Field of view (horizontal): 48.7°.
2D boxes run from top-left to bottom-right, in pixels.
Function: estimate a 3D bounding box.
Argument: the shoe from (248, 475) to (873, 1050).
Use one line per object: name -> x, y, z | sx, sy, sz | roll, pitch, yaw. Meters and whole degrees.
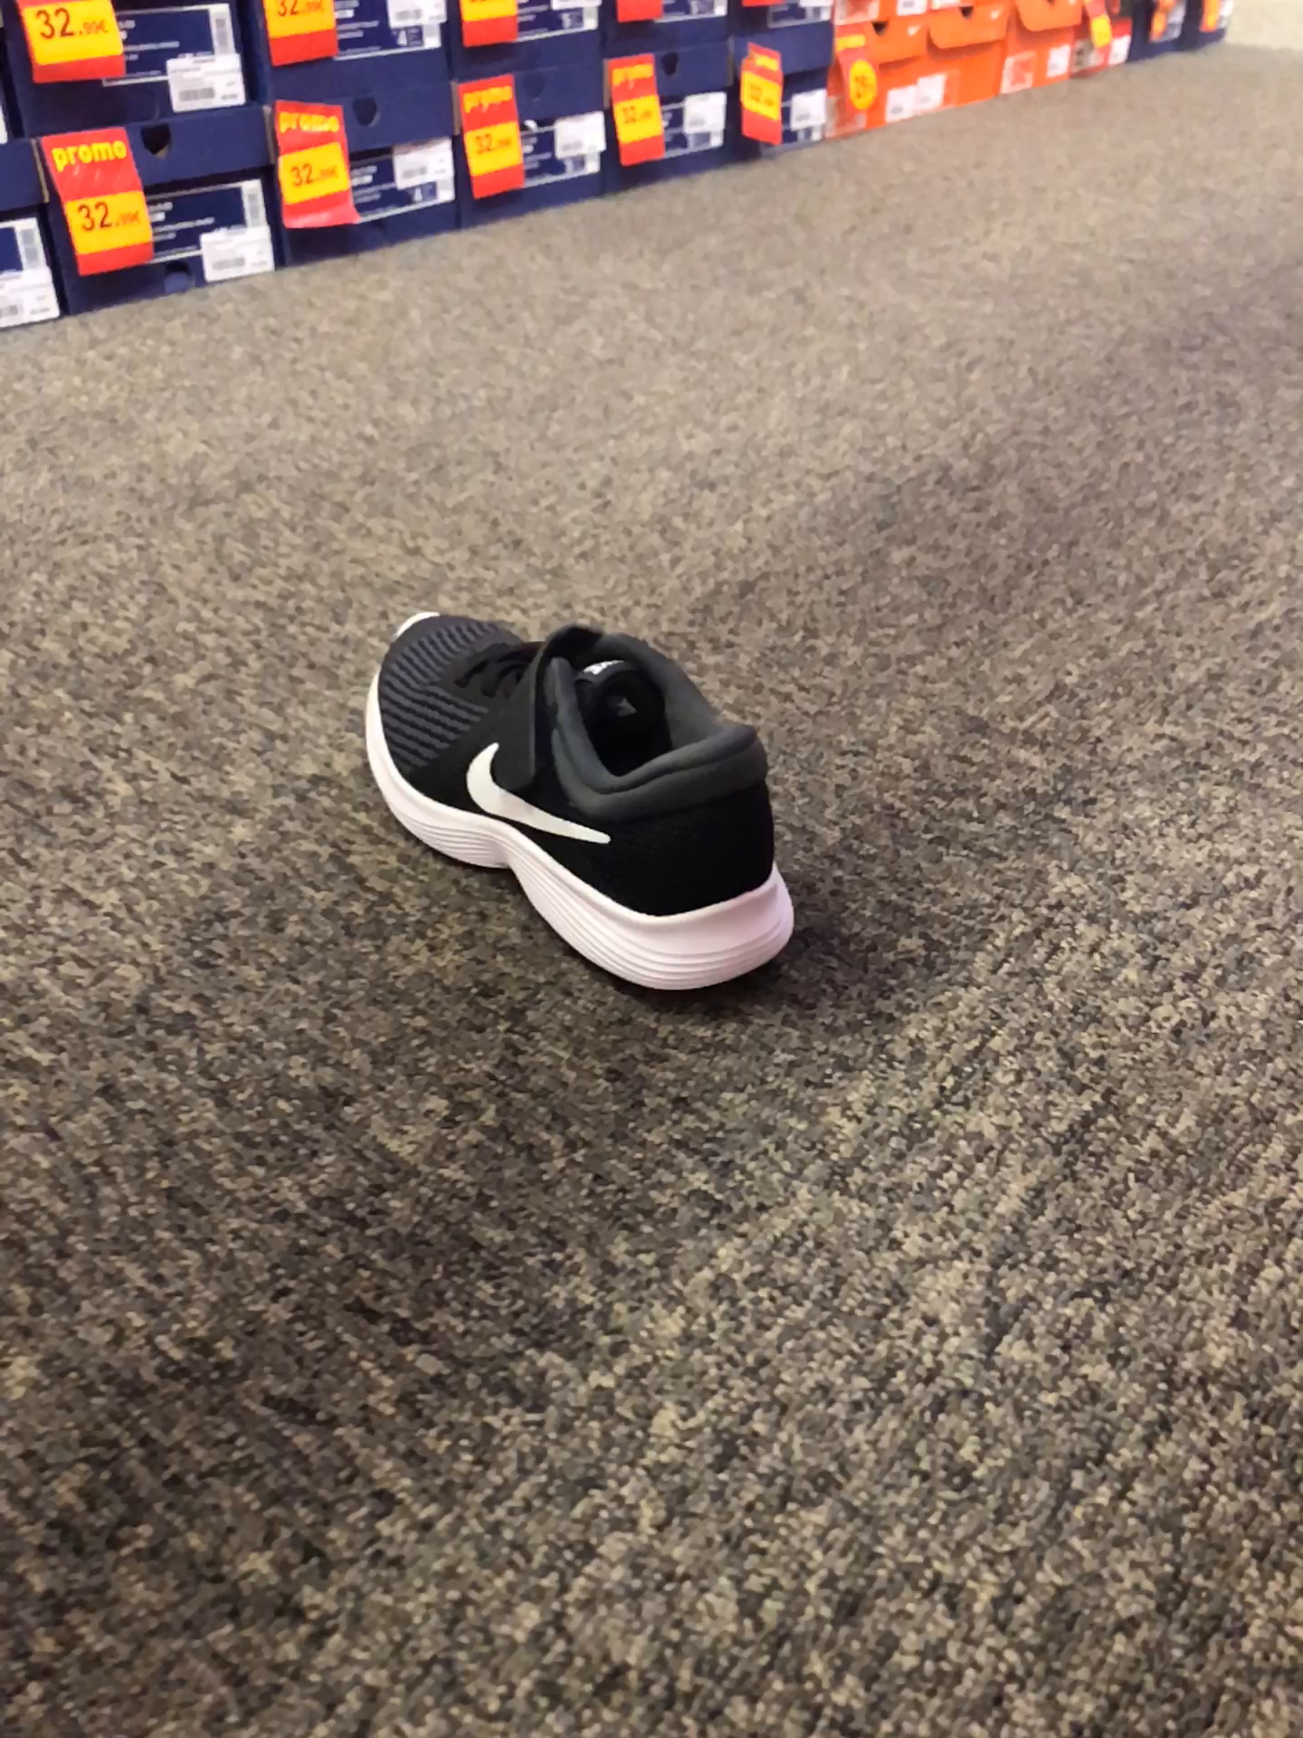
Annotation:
shoe -> -0.039, -0.049, 0.468 | 0.090, 0.080, 0.218 | -23, 41, -28
